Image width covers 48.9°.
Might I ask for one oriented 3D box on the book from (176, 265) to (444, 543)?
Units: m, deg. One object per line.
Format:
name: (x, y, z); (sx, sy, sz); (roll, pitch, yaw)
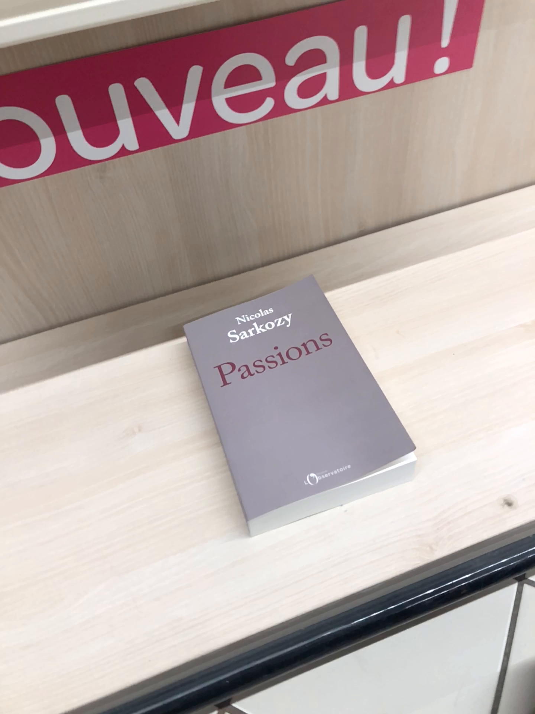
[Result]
book: (0.025, 0.026, 0.522); (0.157, 0.044, 0.225); (-18, 51, -9)
